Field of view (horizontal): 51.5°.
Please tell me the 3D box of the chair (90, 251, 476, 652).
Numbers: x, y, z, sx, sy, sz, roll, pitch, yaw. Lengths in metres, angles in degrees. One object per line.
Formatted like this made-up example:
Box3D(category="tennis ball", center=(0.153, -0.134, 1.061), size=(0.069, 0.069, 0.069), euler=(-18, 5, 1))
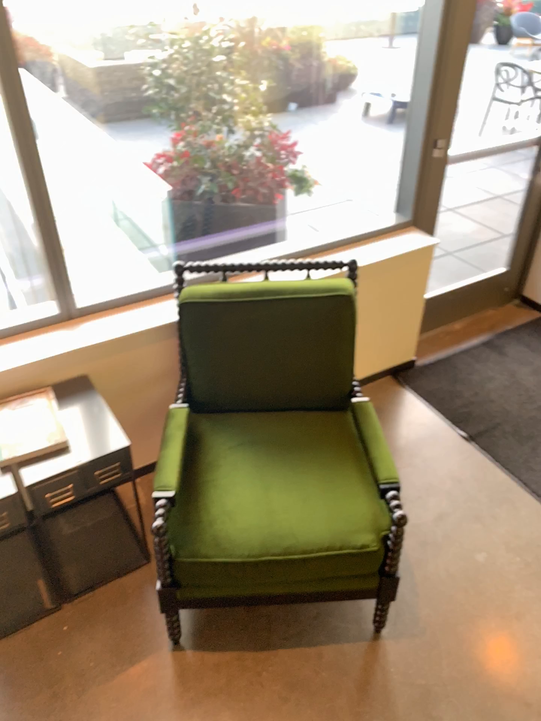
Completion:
Box3D(category="chair", center=(0.014, 0.269, 1.914), size=(0.870, 0.924, 0.946), euler=(-2, 37, -2))
